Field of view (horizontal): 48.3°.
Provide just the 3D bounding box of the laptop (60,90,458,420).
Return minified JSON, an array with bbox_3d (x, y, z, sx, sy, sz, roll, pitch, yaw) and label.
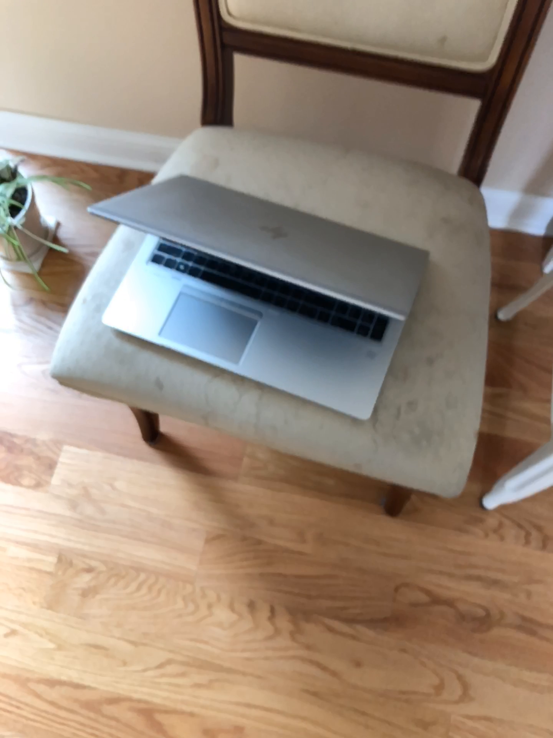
[{"bbox_3d":[-0.014,-0.135,0.739,0.365,0.159,0.244,20,71,10],"label":"laptop"}]
